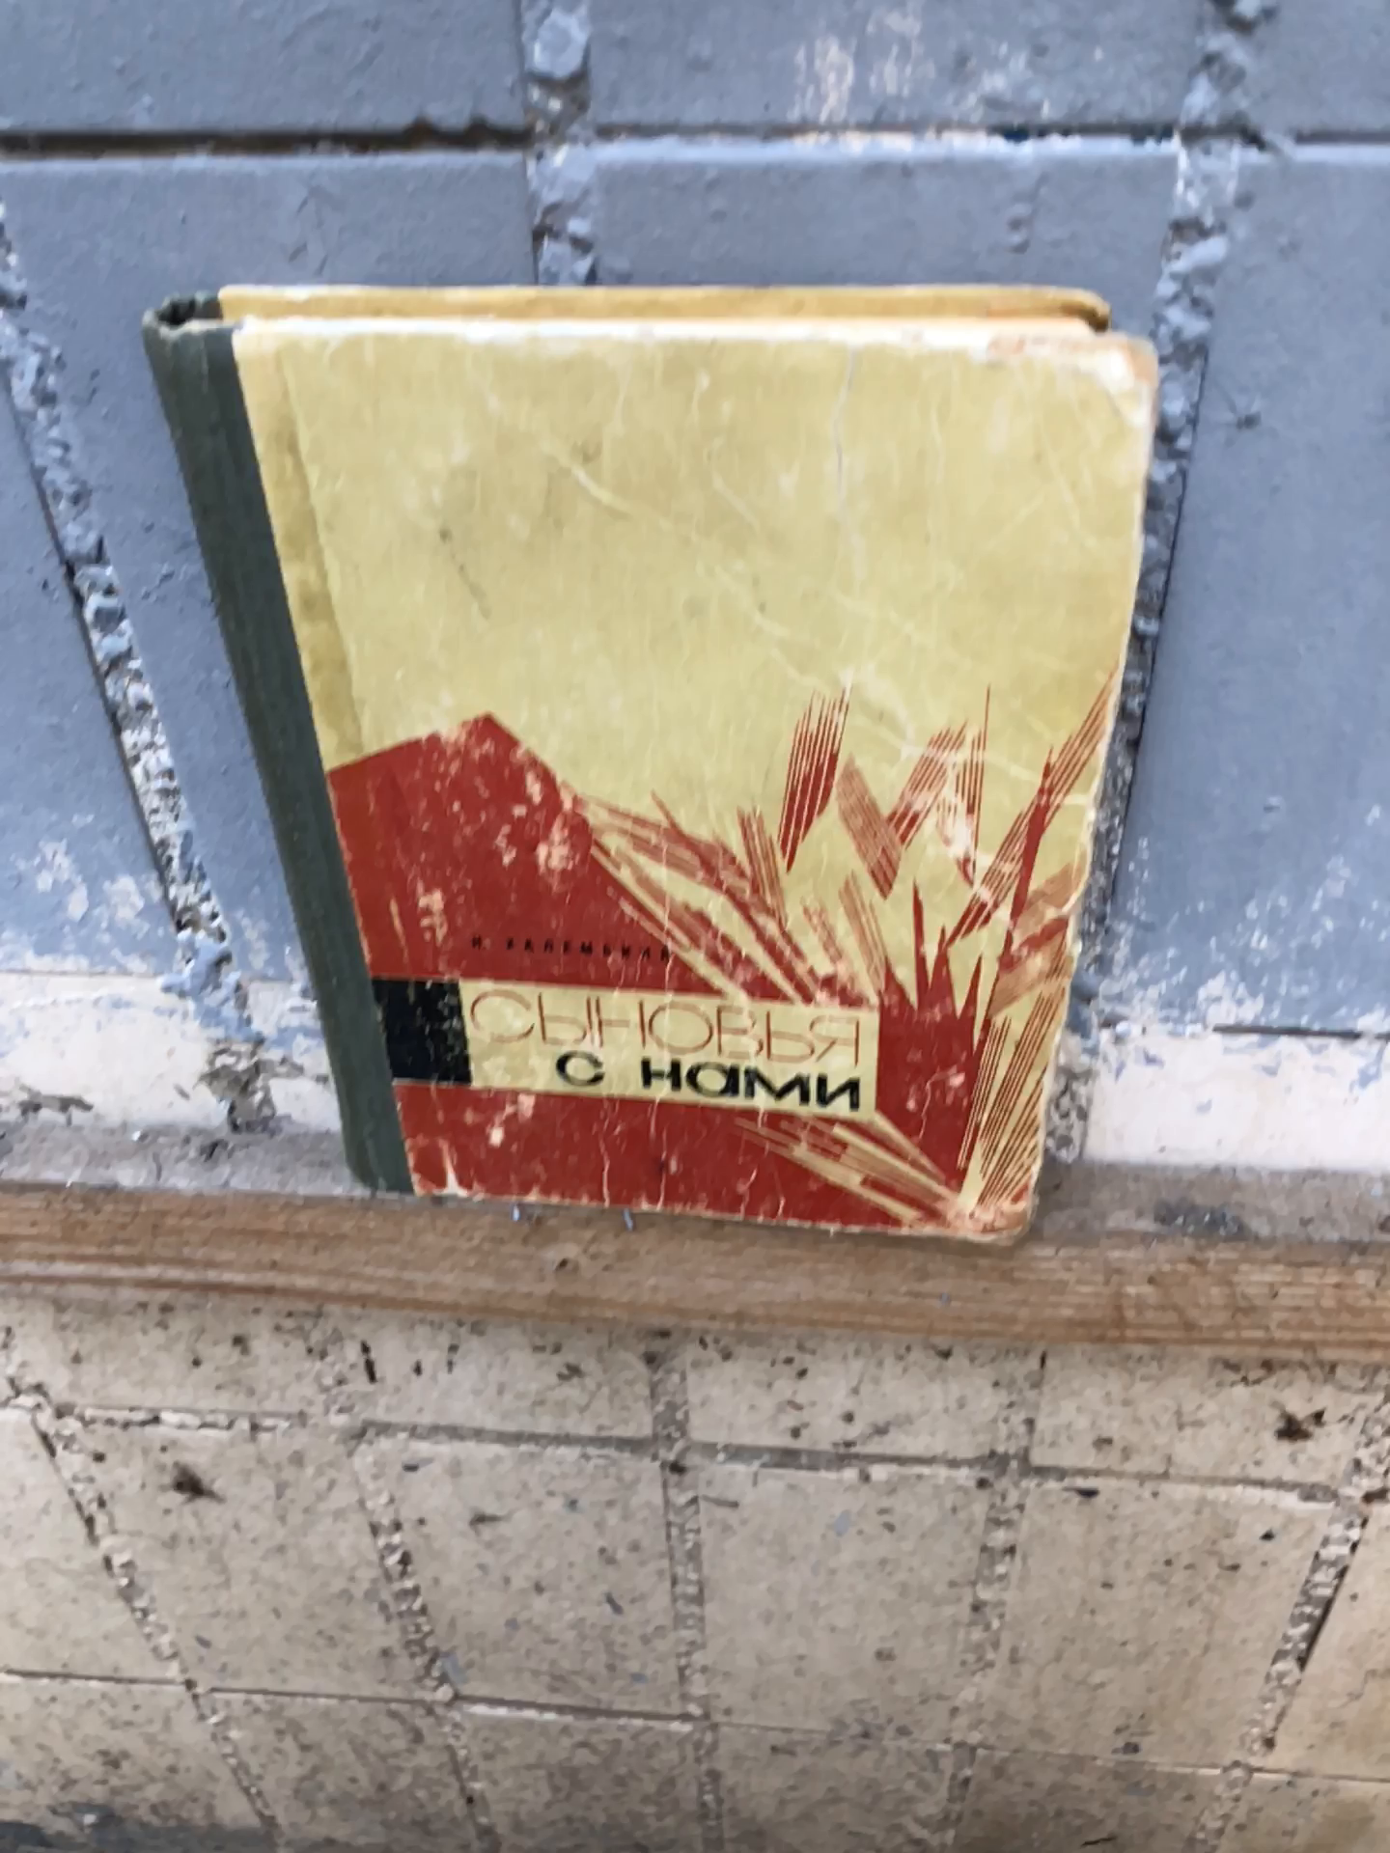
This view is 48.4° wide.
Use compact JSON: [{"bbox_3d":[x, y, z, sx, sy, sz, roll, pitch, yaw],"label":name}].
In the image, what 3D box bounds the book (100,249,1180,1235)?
[{"bbox_3d":[-0.006,-0.022,0.257,0.140,0.162,0.032,3,35,7],"label":"book"}]
